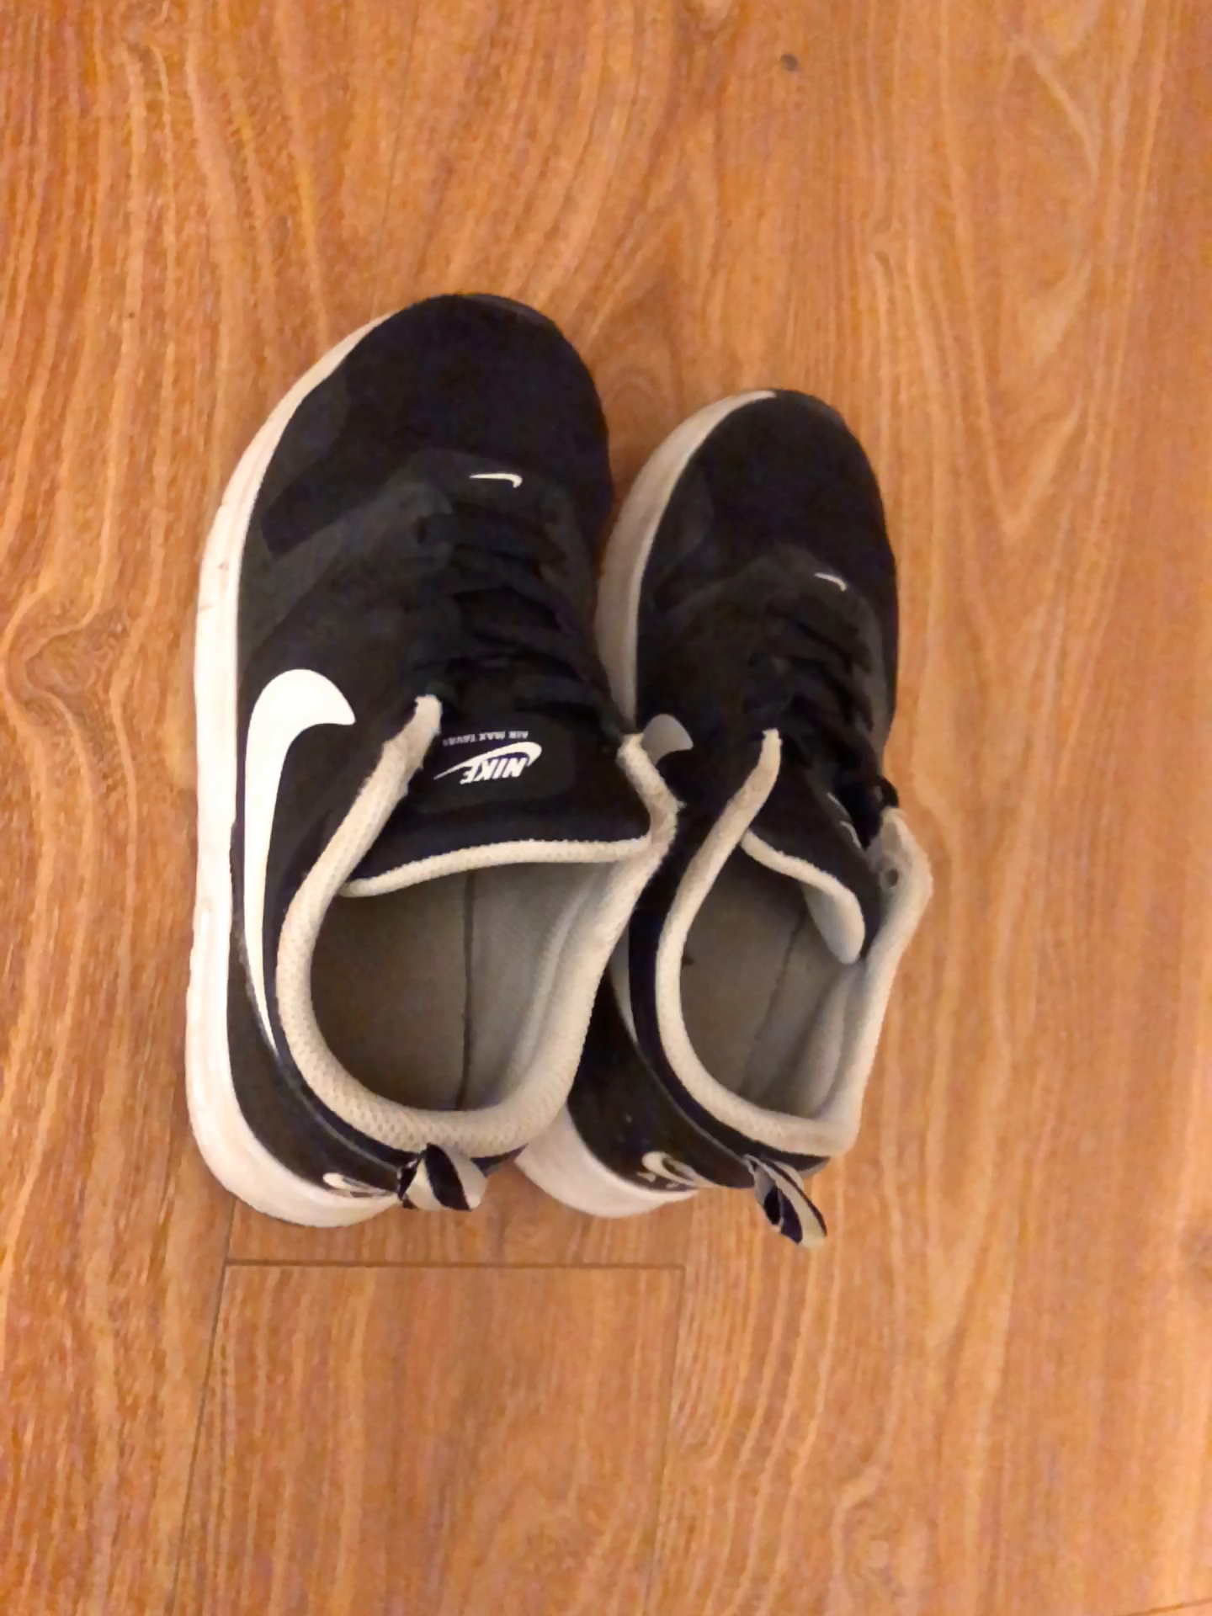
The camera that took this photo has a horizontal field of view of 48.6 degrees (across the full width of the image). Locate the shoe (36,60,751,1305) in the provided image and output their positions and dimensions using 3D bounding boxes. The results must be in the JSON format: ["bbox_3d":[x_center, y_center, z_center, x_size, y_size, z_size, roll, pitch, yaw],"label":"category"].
[{"bbox_3d":[-0.046,-0.021,0.299,0.090,0.080,0.230,15,80,-28],"label":"shoe"}]

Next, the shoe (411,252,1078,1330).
[{"bbox_3d":[0.037,-0.003,0.342,0.090,0.080,0.230,21,77,-27],"label":"shoe"}]
